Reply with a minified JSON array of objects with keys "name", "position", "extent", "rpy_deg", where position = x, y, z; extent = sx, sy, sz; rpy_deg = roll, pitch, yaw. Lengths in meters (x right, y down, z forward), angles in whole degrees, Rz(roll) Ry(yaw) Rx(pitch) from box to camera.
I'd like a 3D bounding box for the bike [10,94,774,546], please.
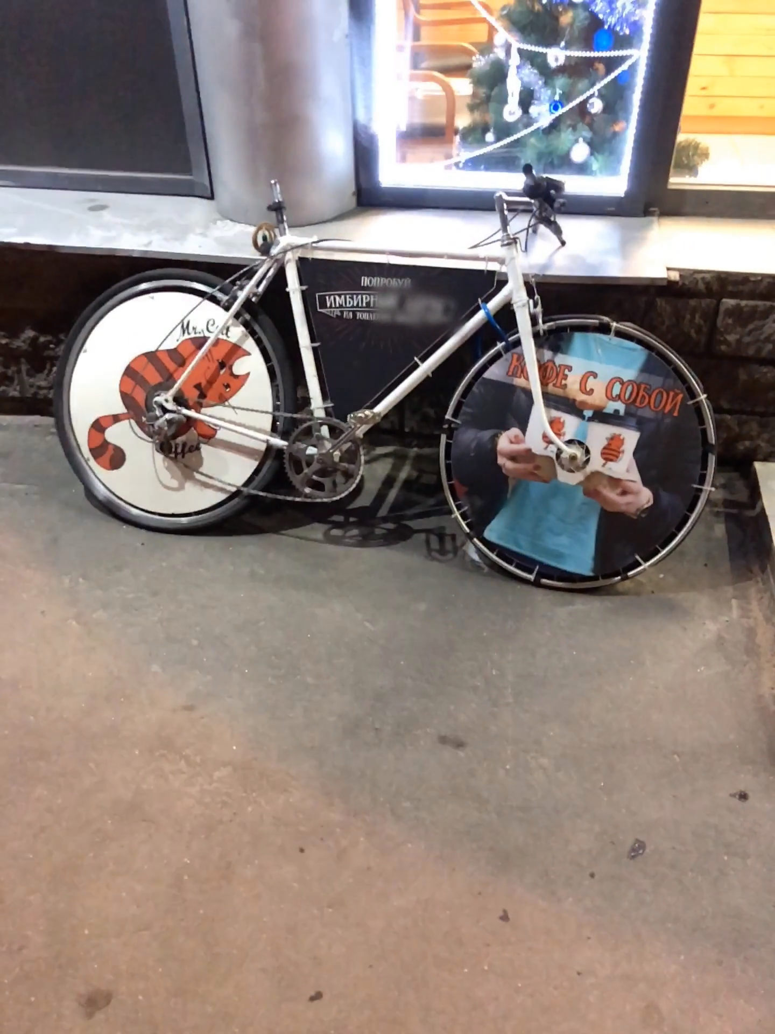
[{"name":"bike","position":[0.038,-0.538,2.194],"extent":[1.585,0.917,0.572],"rpy_deg":[6,37,11]}]
